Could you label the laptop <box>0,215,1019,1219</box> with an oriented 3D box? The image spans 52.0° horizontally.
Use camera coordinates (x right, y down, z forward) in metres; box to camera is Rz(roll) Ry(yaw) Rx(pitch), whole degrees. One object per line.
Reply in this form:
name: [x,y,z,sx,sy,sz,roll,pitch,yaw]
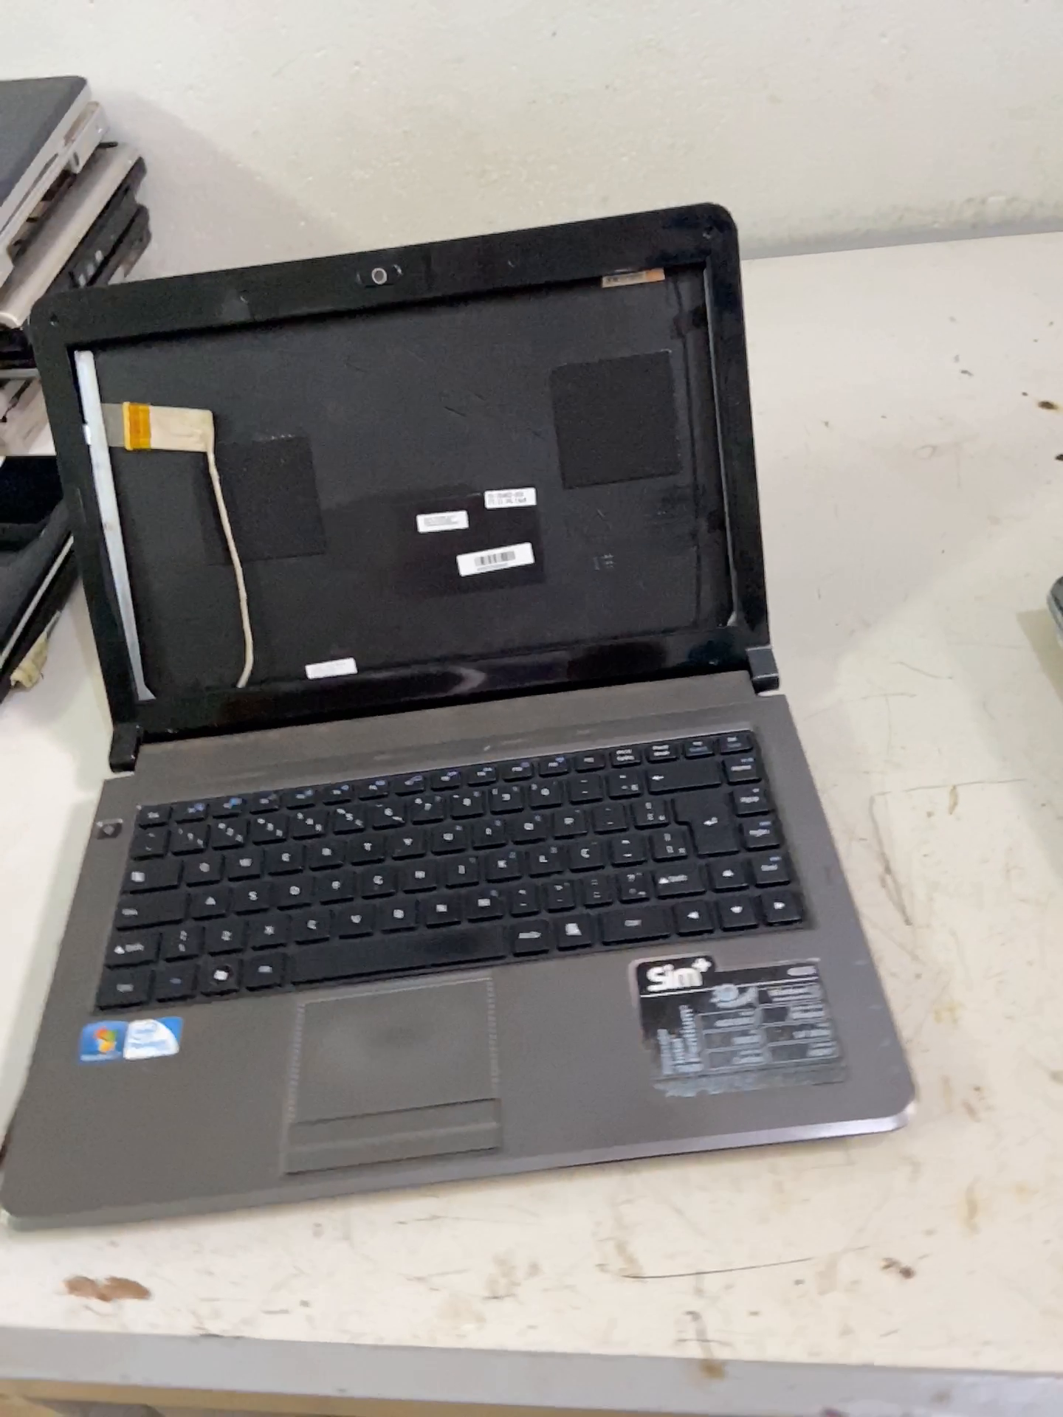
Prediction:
laptop: [-0.050,-0.023,0.465,0.342,0.174,0.366,-7,46,2]
